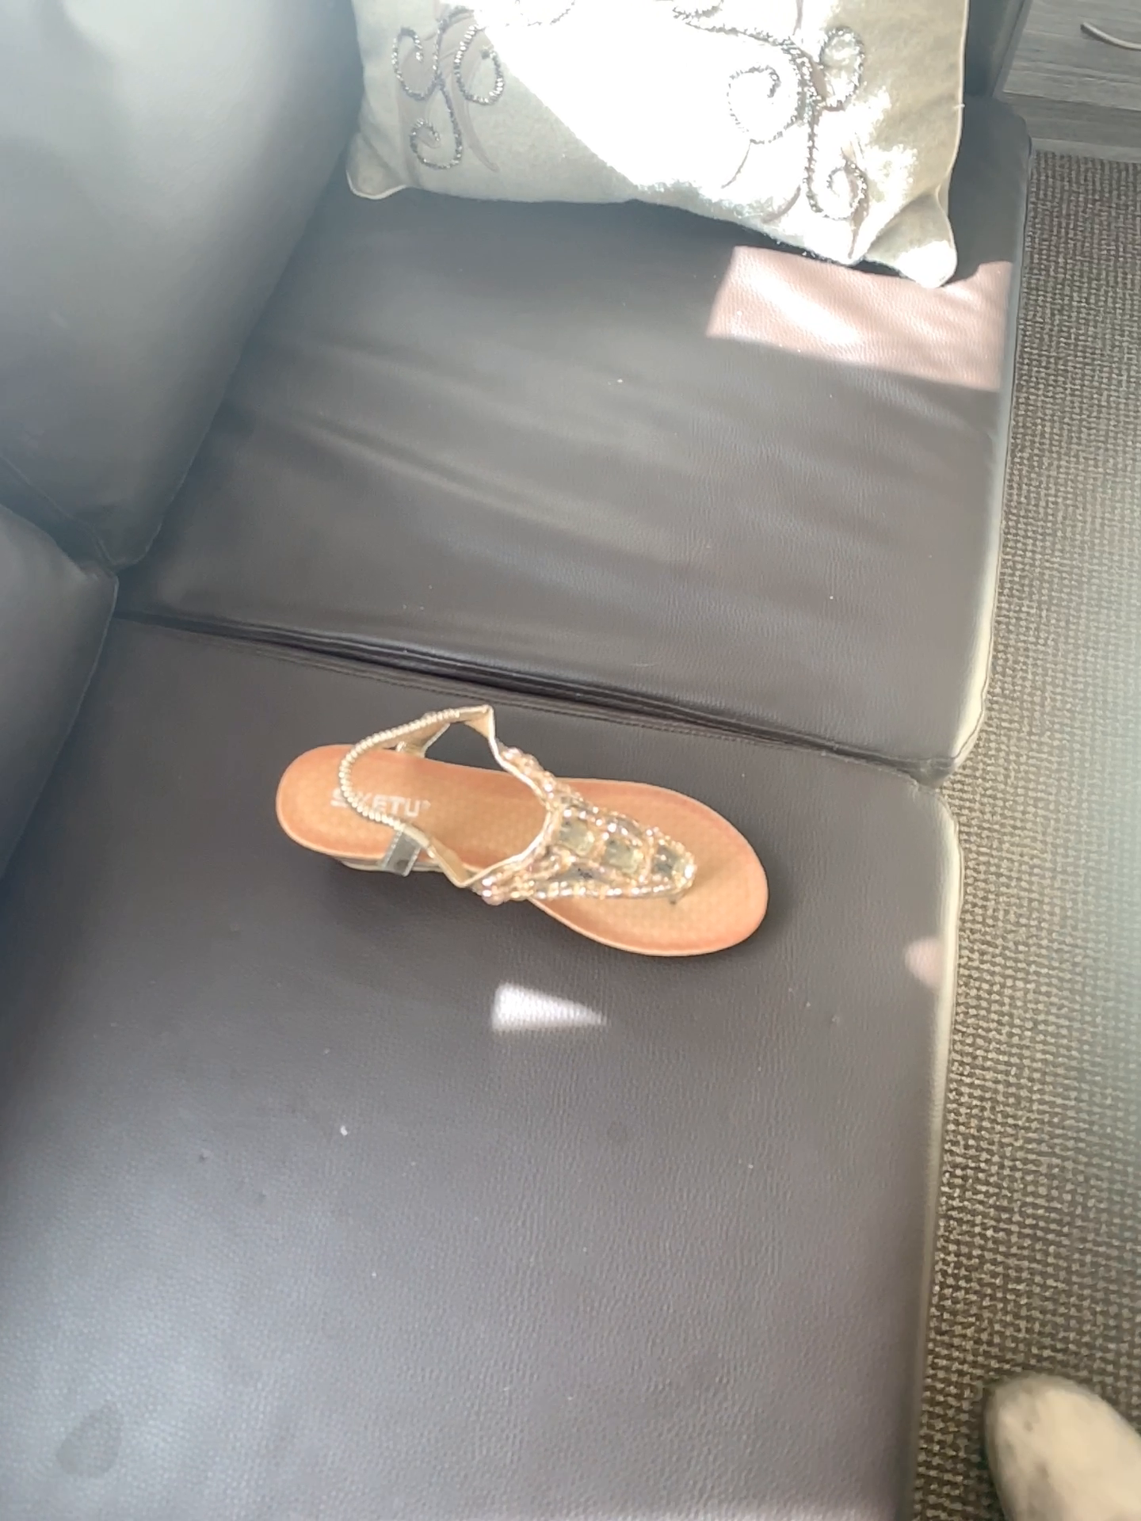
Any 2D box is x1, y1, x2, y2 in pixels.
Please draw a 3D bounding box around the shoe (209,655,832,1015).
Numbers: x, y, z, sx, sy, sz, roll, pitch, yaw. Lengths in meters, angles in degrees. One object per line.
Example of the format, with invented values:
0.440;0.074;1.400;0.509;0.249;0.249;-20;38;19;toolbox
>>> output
-0.020;0.043;0.589;0.270;0.139;0.100;9;66;4;shoe
